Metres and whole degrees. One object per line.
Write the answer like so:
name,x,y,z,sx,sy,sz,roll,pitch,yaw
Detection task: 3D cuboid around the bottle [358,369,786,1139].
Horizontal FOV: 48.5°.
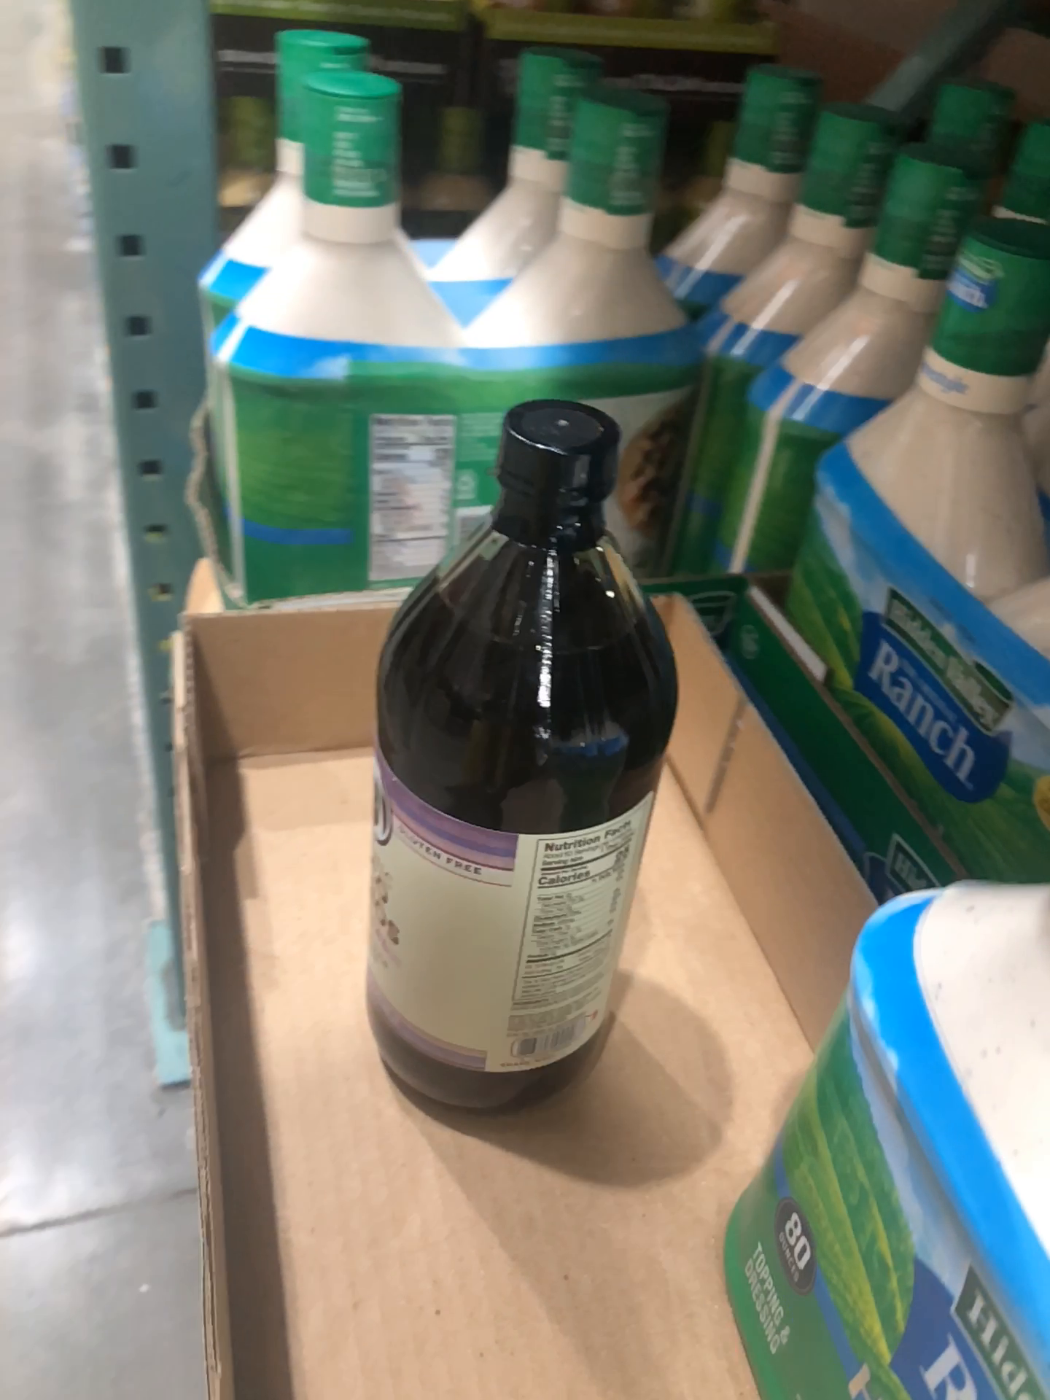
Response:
bottle,-0.004,0.028,0.369,0.090,0.229,0.100,1,39,-10
